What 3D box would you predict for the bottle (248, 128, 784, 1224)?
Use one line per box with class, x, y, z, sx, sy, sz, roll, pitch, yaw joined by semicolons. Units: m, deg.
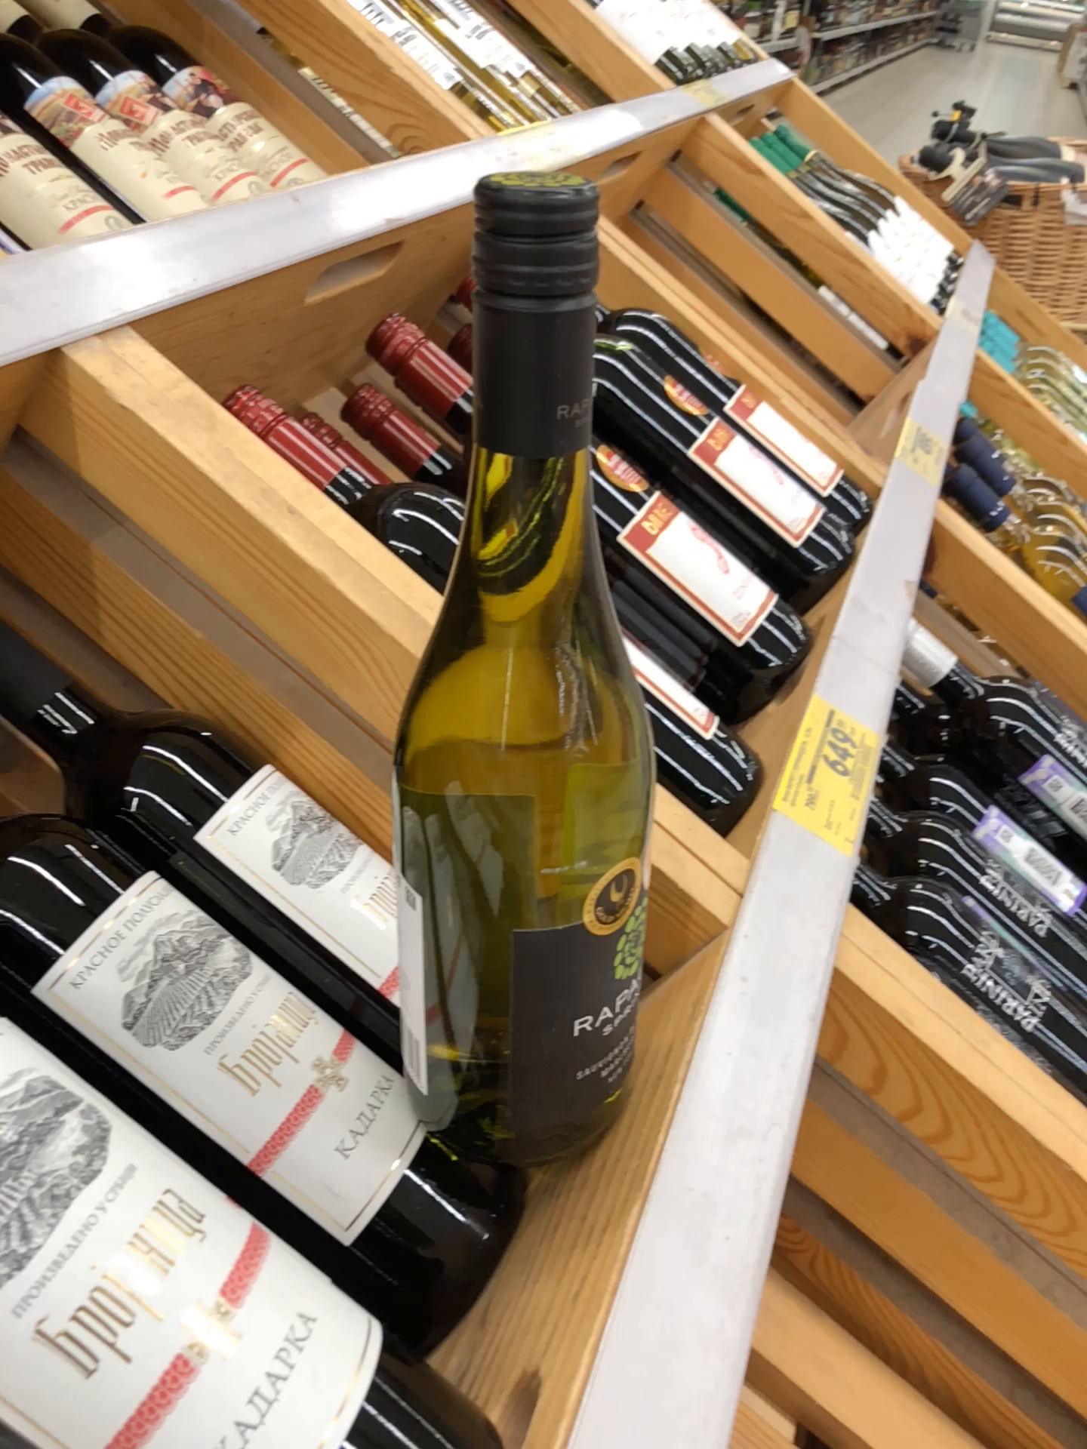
bottle;-0.006;-0.003;0.341;0.090;0.288;0.090;1;31;-1
